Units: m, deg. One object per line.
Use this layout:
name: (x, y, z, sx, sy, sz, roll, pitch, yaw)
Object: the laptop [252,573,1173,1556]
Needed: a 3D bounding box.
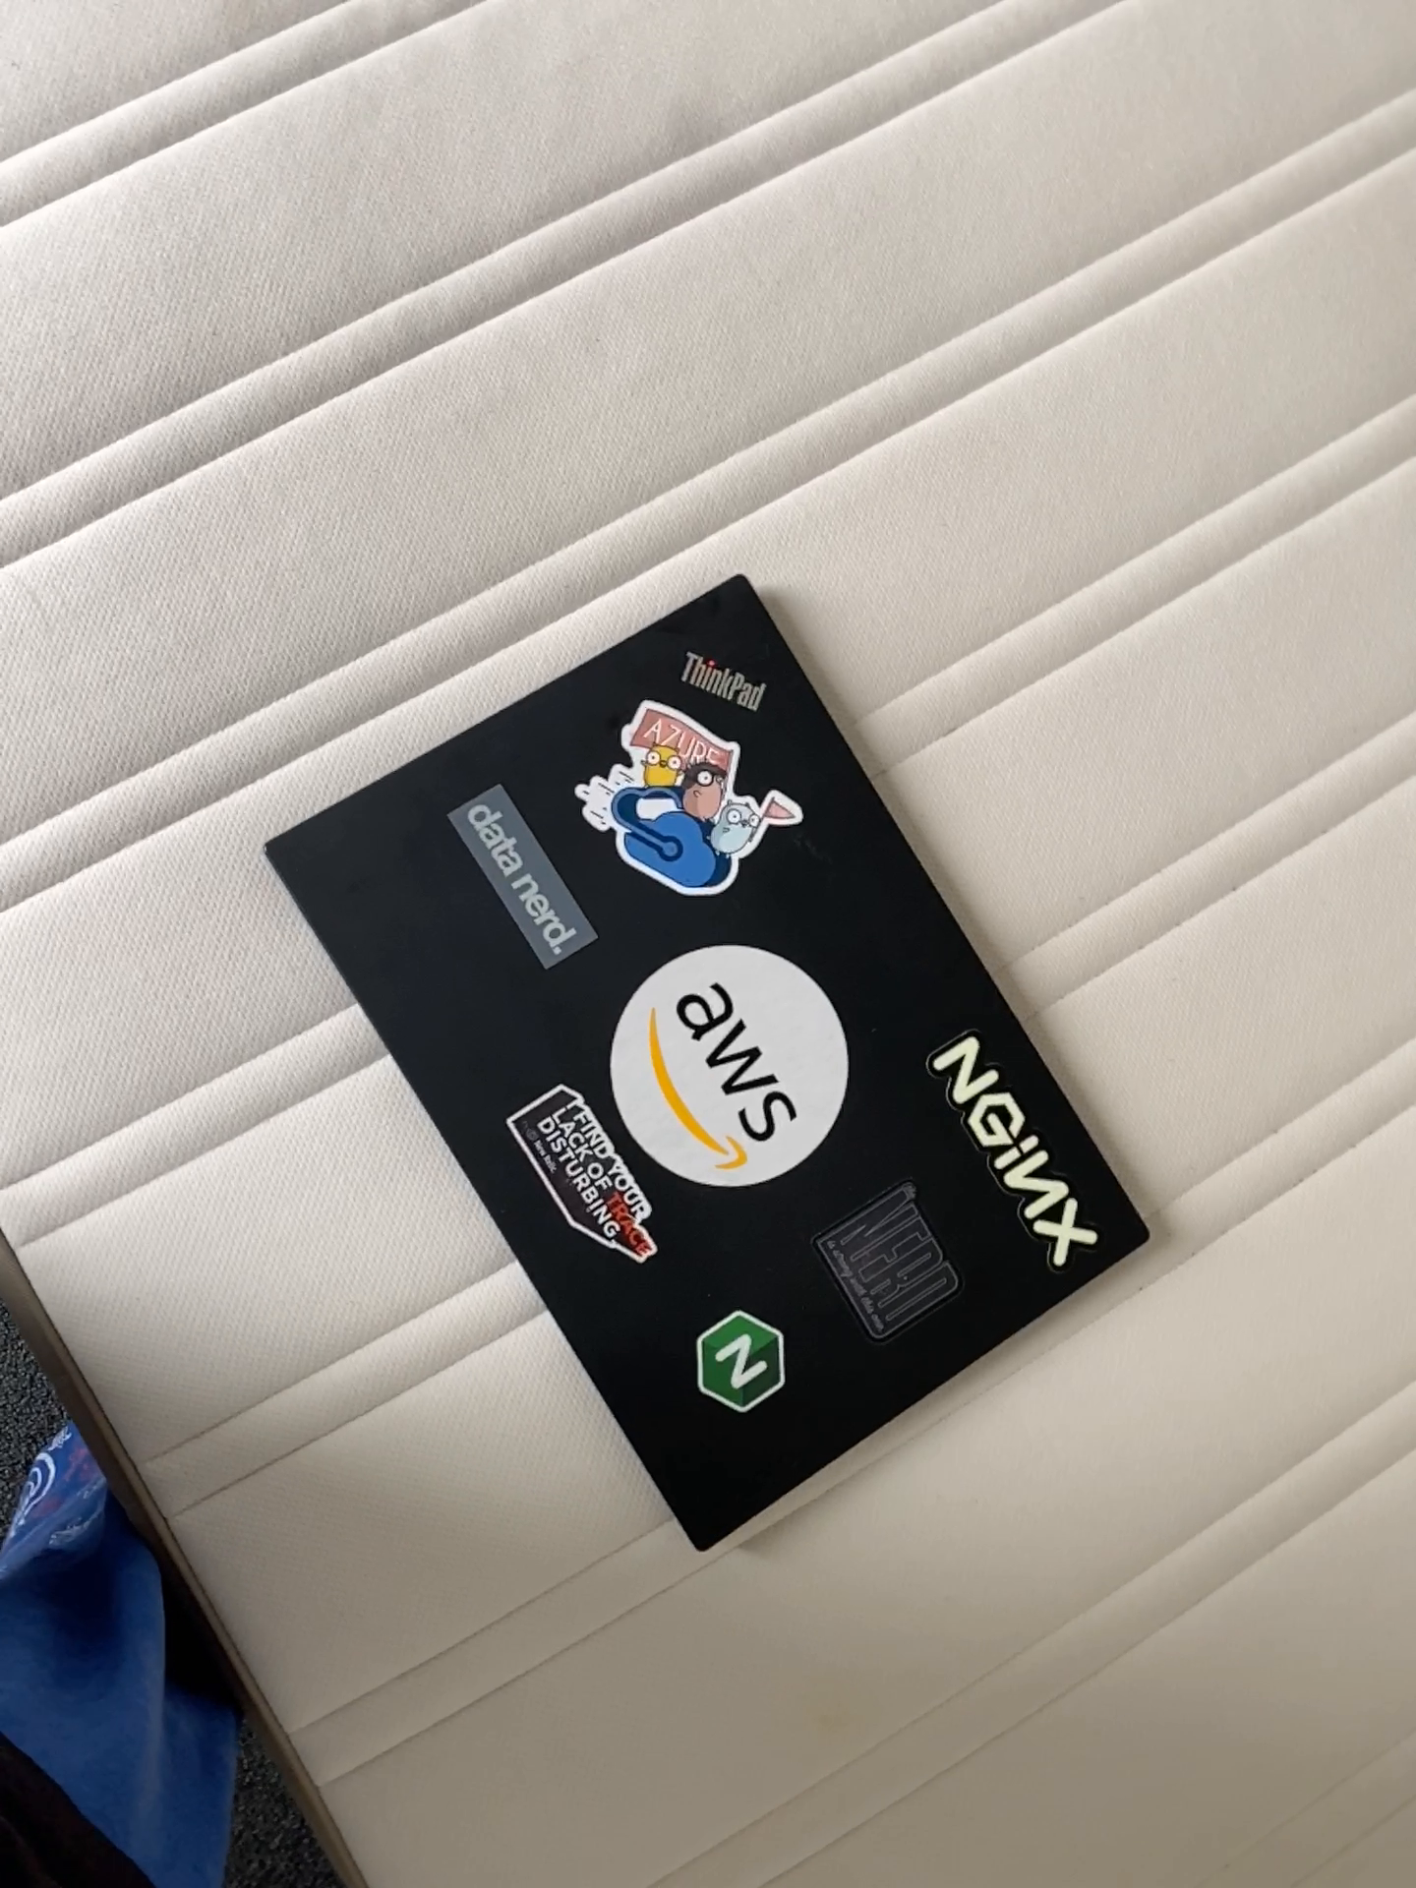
laptop: (0.008, 0.039, 0.574, 0.224, 0.014, 0.322, -31, 89, -12)
